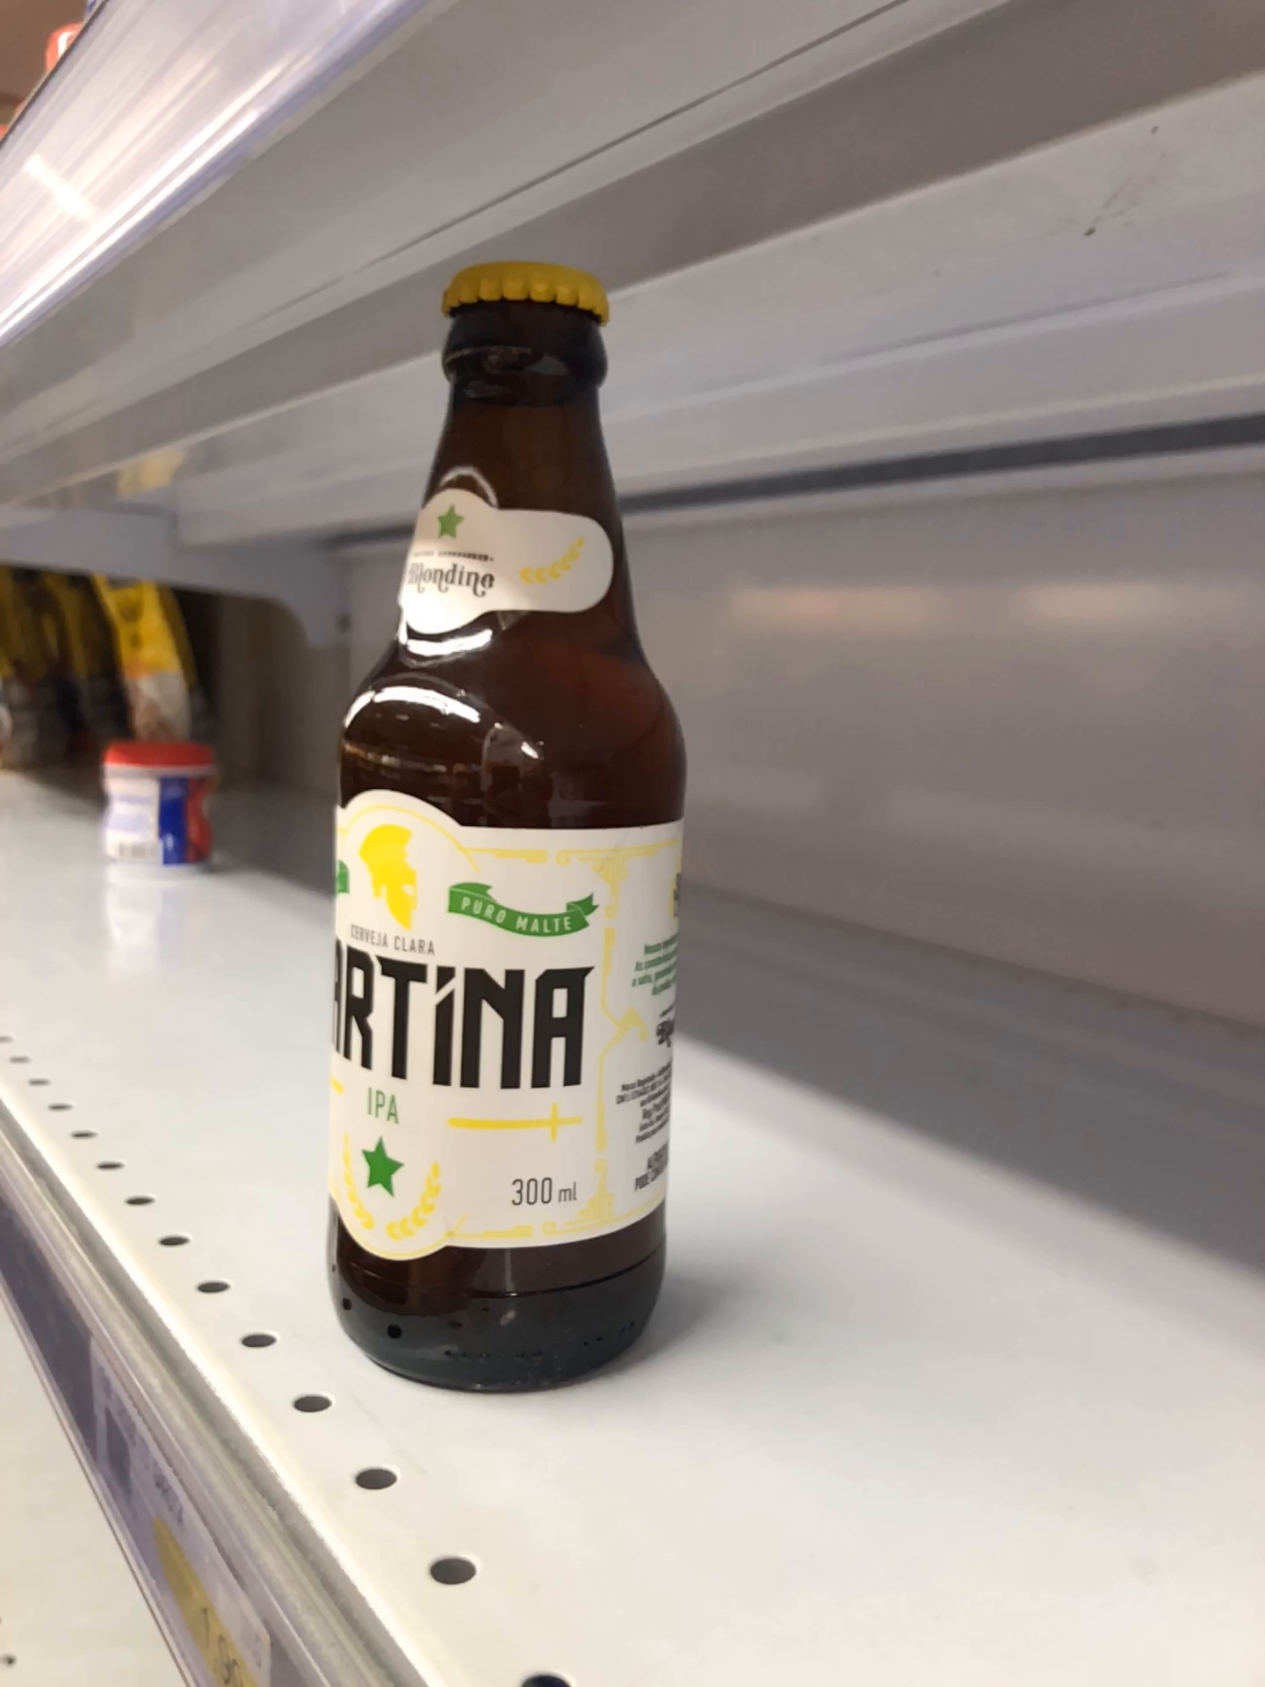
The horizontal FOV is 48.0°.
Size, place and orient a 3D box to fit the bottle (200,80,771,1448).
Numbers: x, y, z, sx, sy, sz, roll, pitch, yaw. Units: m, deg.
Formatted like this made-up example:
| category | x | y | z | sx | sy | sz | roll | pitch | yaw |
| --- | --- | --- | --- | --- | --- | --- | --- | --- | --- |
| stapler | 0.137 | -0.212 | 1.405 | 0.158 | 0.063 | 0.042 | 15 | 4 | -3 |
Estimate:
| category | x | y | z | sx | sy | sz | roll | pitch | yaw |
| --- | --- | --- | --- | --- | --- | --- | --- | --- | --- |
| bottle | -0.025 | -0.012 | 0.241 | 0.070 | 0.190 | 0.060 | 6 | 8 | 32 |
